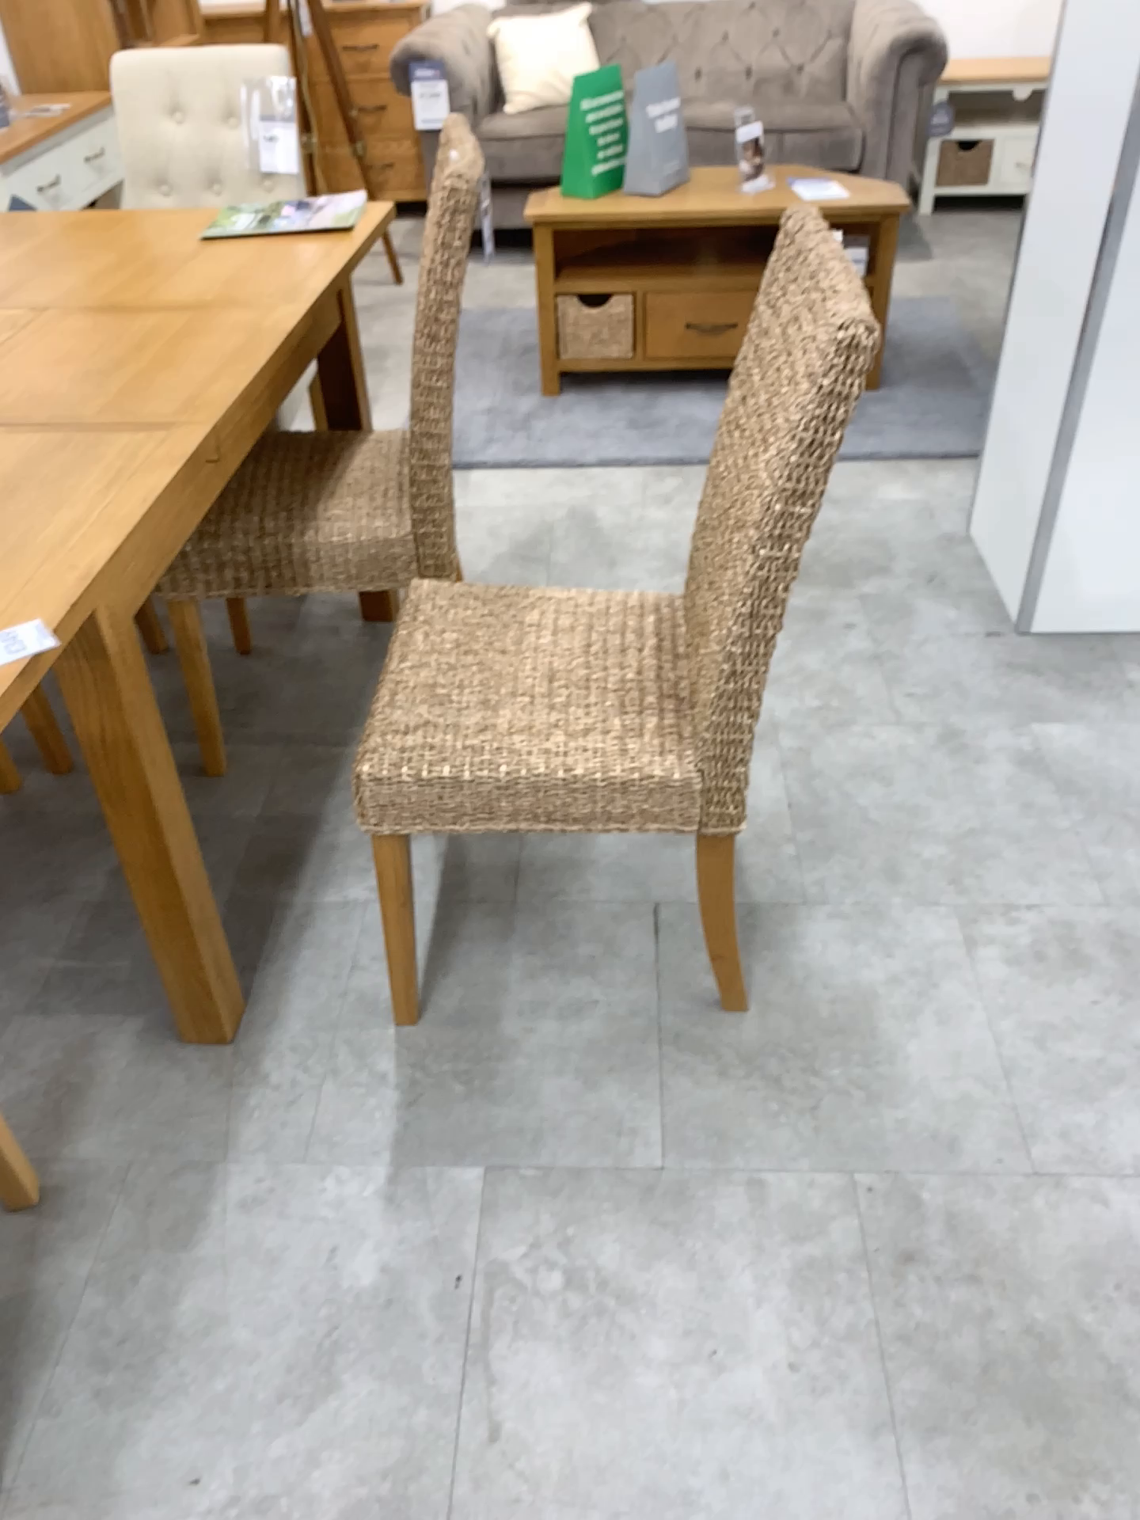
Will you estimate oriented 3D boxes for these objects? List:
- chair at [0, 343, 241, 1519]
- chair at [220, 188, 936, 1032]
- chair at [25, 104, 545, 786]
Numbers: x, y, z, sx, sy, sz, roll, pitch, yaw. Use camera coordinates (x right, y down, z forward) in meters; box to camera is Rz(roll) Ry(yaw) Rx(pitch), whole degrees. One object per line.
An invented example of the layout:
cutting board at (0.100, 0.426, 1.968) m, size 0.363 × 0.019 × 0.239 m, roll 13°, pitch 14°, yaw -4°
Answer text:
chair at (-0.740, 0.193, 0.932) m, size 0.724 × 0.840 × 0.429 m, roll -6°, pitch 38°, yaw -4°
chair at (0.031, -0.154, 1.396) m, size 0.574 × 0.840 × 0.509 m, roll 0°, pitch 38°, yaw 4°
chair at (-0.363, -0.488, 1.864) m, size 0.564 × 0.870 × 0.530 m, roll -5°, pitch 38°, yaw -2°
